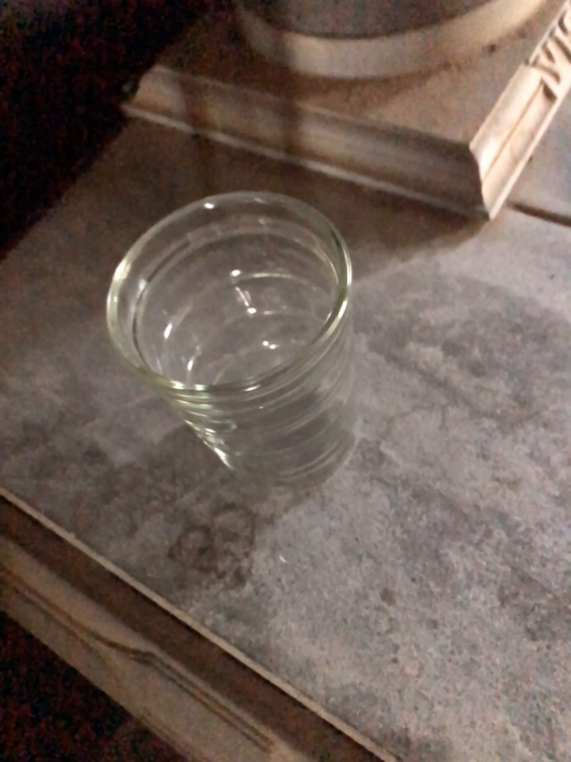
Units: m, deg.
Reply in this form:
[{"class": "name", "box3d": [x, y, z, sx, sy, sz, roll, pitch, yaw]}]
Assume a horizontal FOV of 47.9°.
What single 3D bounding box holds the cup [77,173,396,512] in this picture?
[{"class": "cup", "box3d": [-0.005, -0.008, 0.201, 0.070, 0.080, 0.070, -5, 61, 10]}]
